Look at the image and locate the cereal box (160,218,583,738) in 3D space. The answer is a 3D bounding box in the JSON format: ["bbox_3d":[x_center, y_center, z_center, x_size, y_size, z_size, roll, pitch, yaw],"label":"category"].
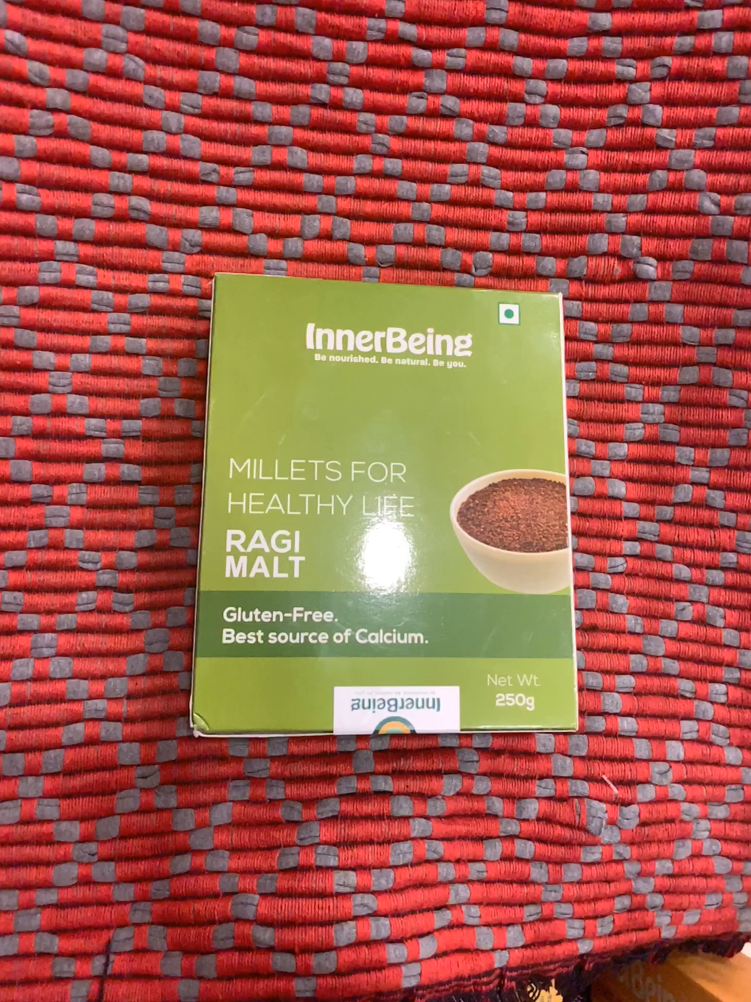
[{"bbox_3d":[-0.002,-0.006,0.278,0.130,0.050,0.170,2,78,-6],"label":"cereal box"}]
